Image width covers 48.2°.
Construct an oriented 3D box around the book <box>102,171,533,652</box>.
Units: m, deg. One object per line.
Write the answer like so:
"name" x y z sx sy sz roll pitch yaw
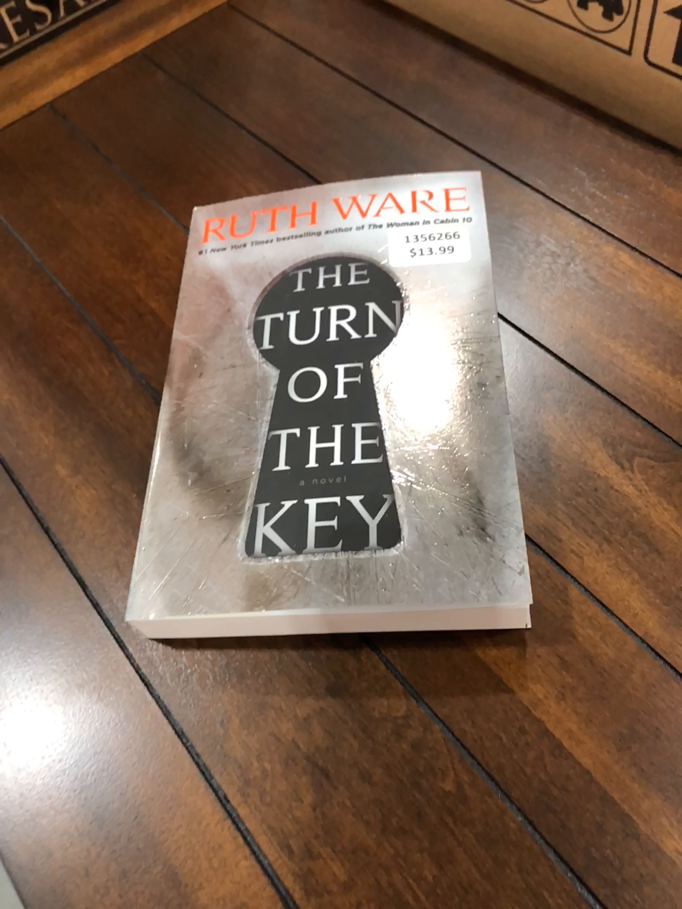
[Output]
"book" -0.007 -0.031 0.346 0.158 0.028 0.233 -3 59 7
